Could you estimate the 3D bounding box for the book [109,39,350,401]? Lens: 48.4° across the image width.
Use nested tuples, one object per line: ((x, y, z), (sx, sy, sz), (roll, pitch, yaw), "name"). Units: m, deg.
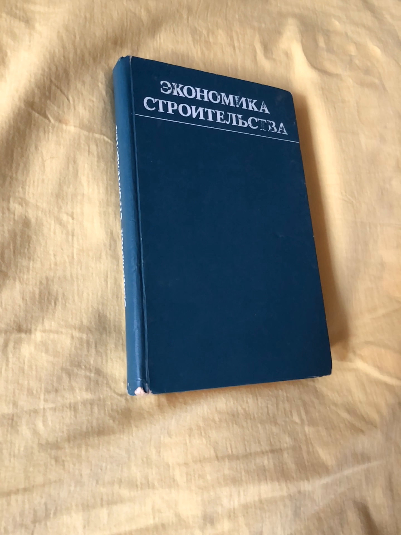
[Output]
((0.016, -0.030, 0.276), (0.131, 0.030, 0.200), (1, 77, -25), "book")
